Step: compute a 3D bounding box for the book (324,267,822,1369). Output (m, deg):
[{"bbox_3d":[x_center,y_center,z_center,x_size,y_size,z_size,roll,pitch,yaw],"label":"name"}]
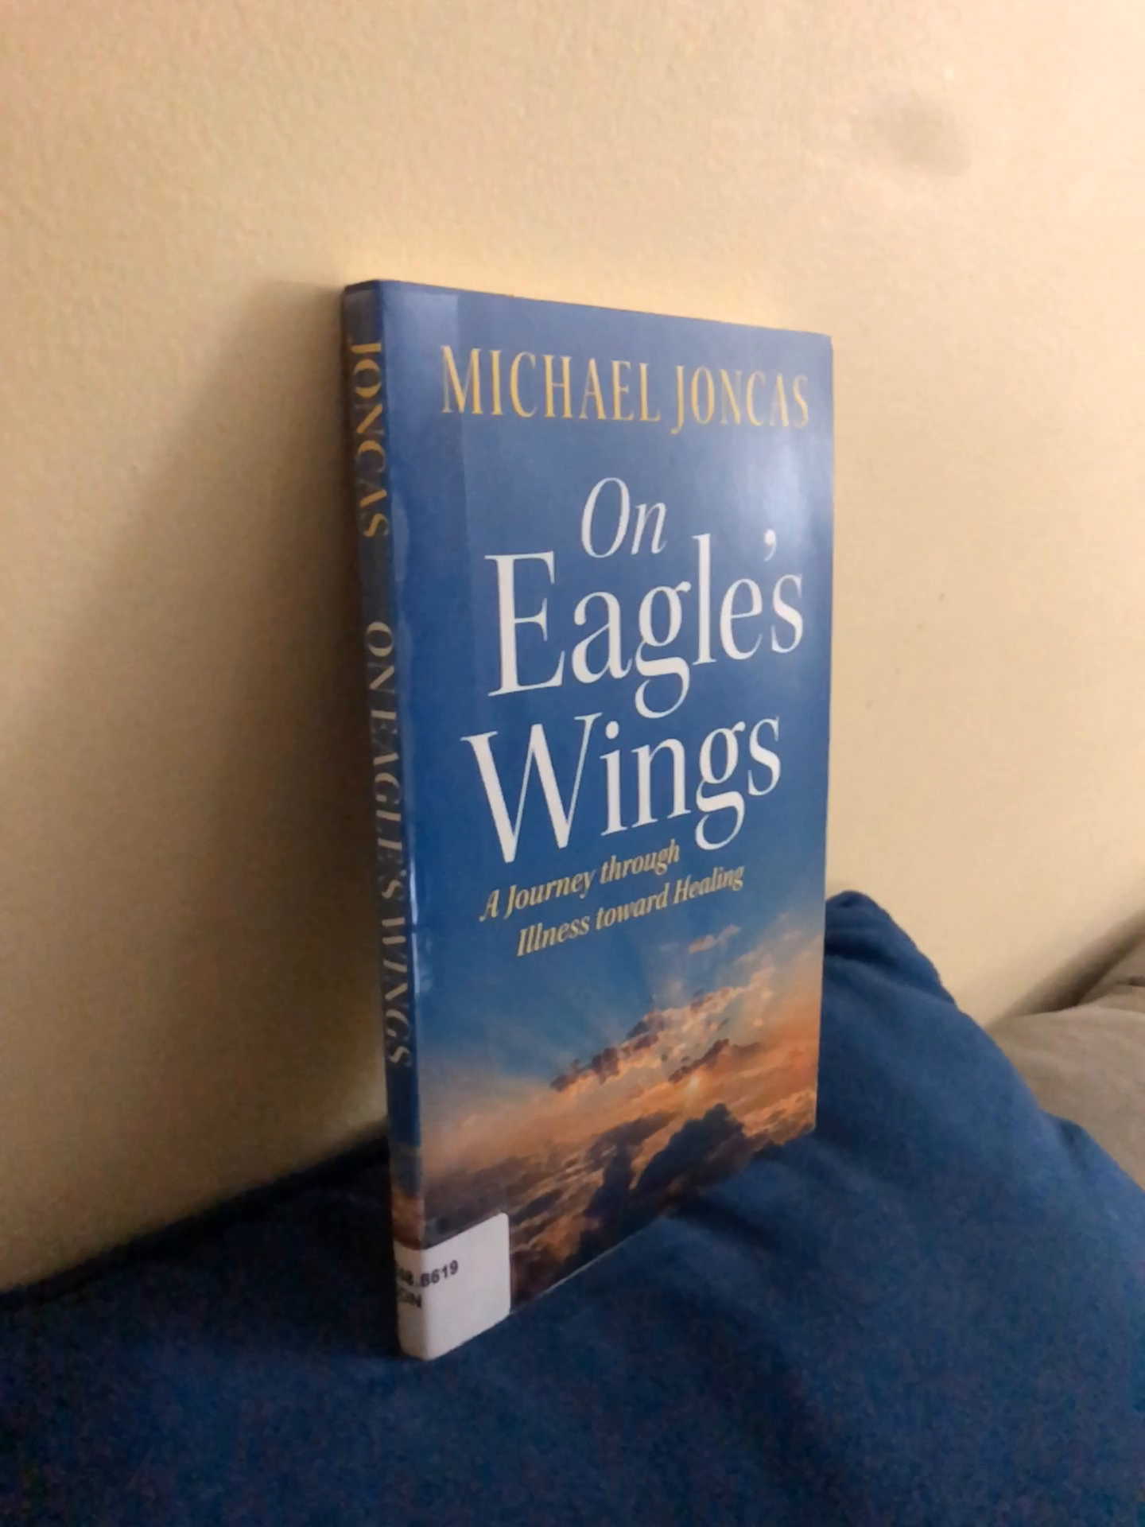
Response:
[{"bbox_3d":[0.011,0.007,0.292,0.014,0.210,0.140,8,14,43],"label":"book"}]
